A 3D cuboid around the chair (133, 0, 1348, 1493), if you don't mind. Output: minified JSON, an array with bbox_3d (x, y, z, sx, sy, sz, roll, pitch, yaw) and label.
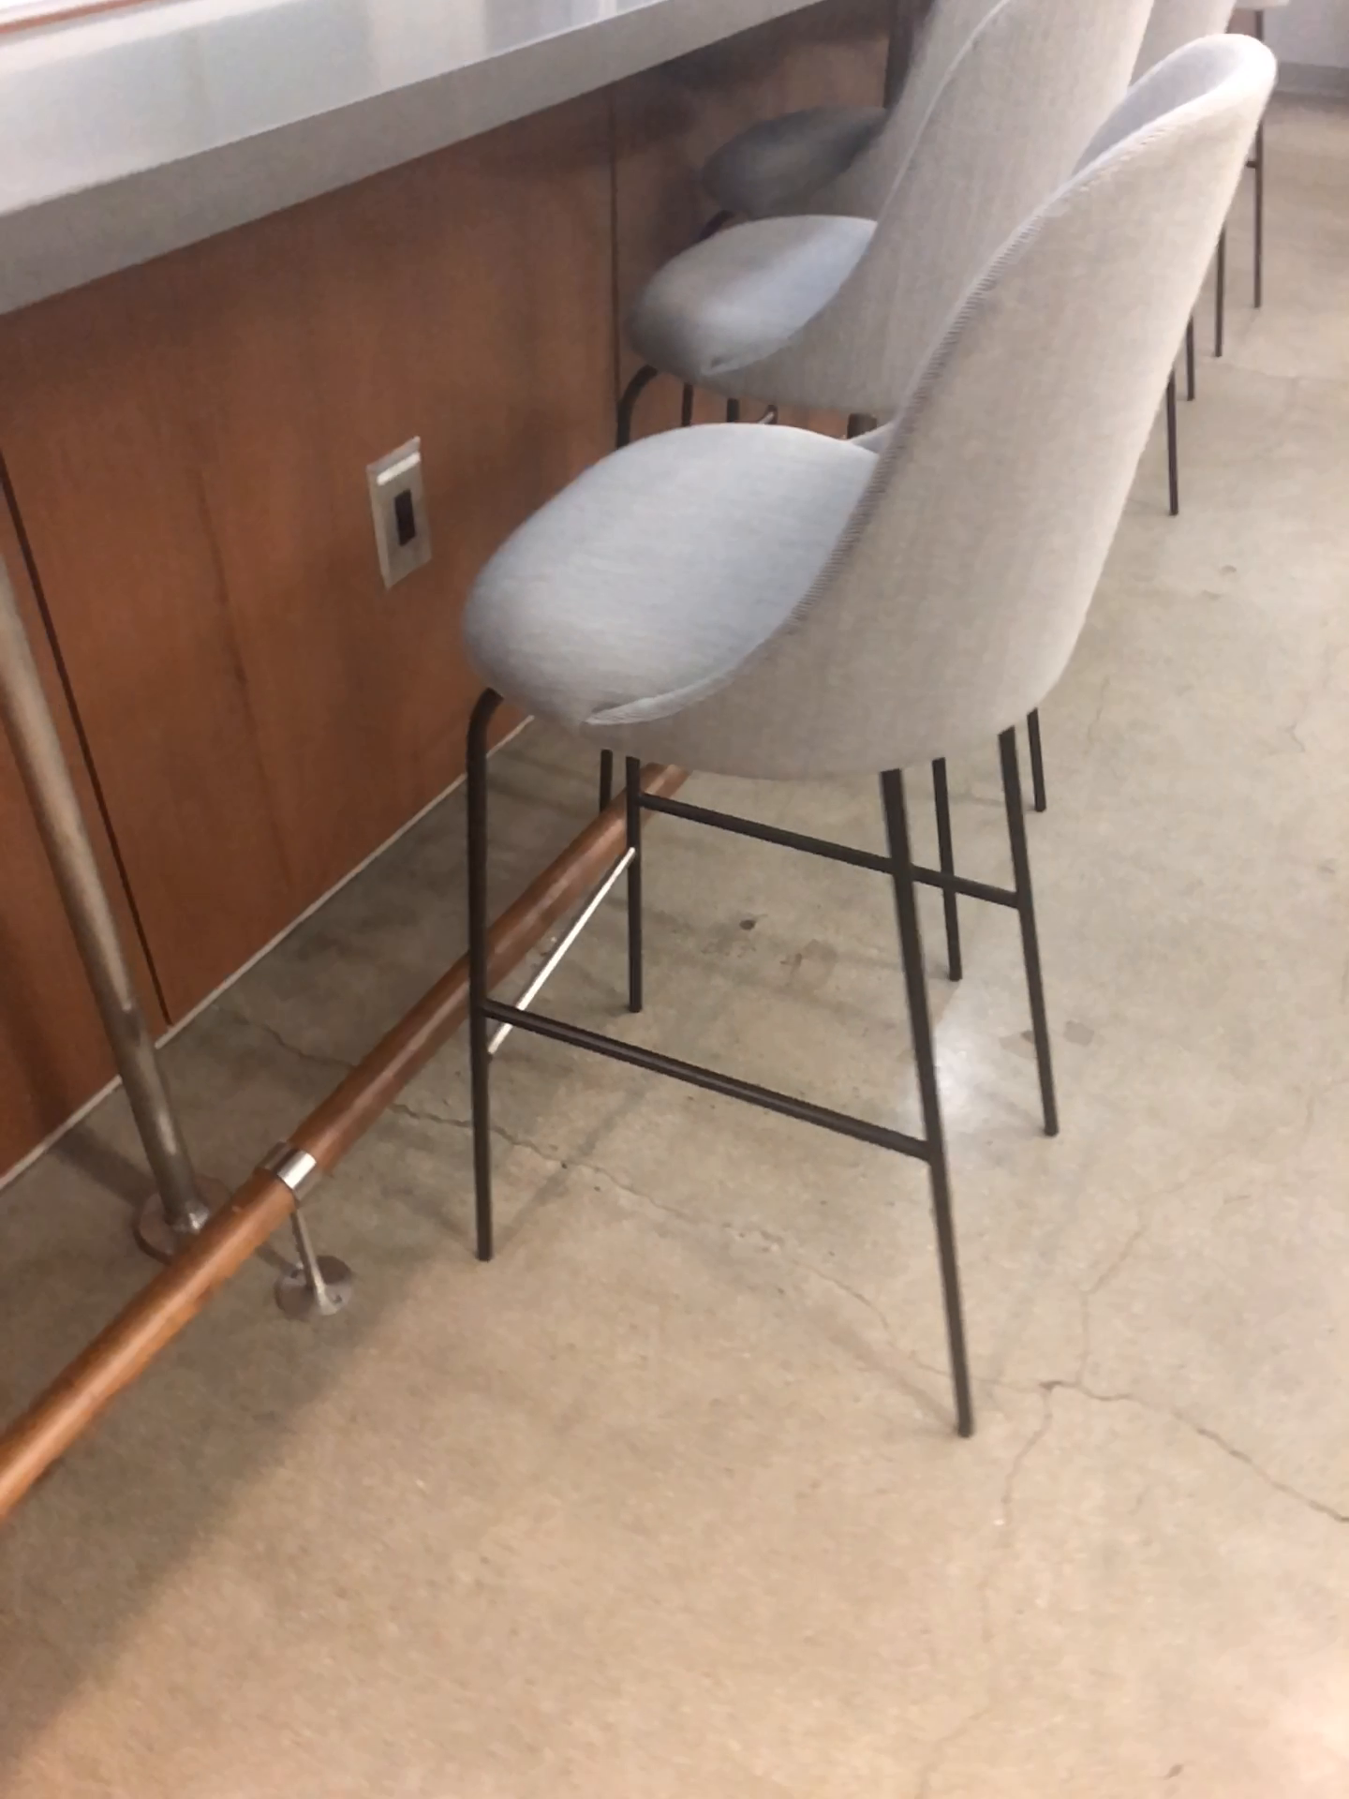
[{"bbox_3d":[0.092,-0.123,1.255,0.630,1.090,0.515,15,42,18],"label":"chair"}]
